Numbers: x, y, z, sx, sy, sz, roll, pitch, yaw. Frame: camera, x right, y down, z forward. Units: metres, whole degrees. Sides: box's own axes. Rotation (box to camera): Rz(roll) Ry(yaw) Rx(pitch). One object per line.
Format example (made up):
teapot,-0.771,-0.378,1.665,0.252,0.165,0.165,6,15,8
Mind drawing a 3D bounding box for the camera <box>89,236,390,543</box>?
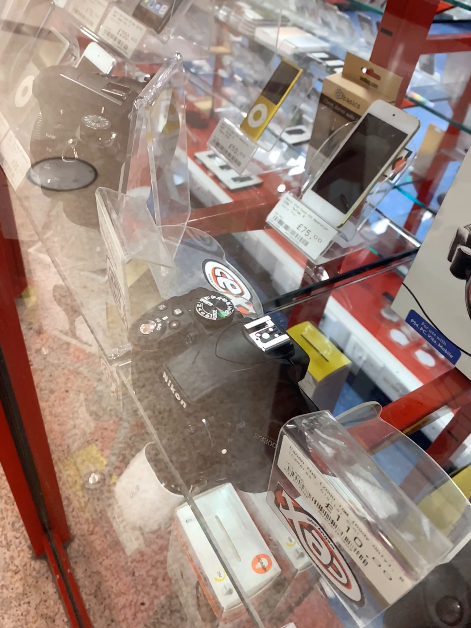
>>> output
camera,-0.005,0.035,0.293,0.110,0.079,0.131,-24,53,-31
